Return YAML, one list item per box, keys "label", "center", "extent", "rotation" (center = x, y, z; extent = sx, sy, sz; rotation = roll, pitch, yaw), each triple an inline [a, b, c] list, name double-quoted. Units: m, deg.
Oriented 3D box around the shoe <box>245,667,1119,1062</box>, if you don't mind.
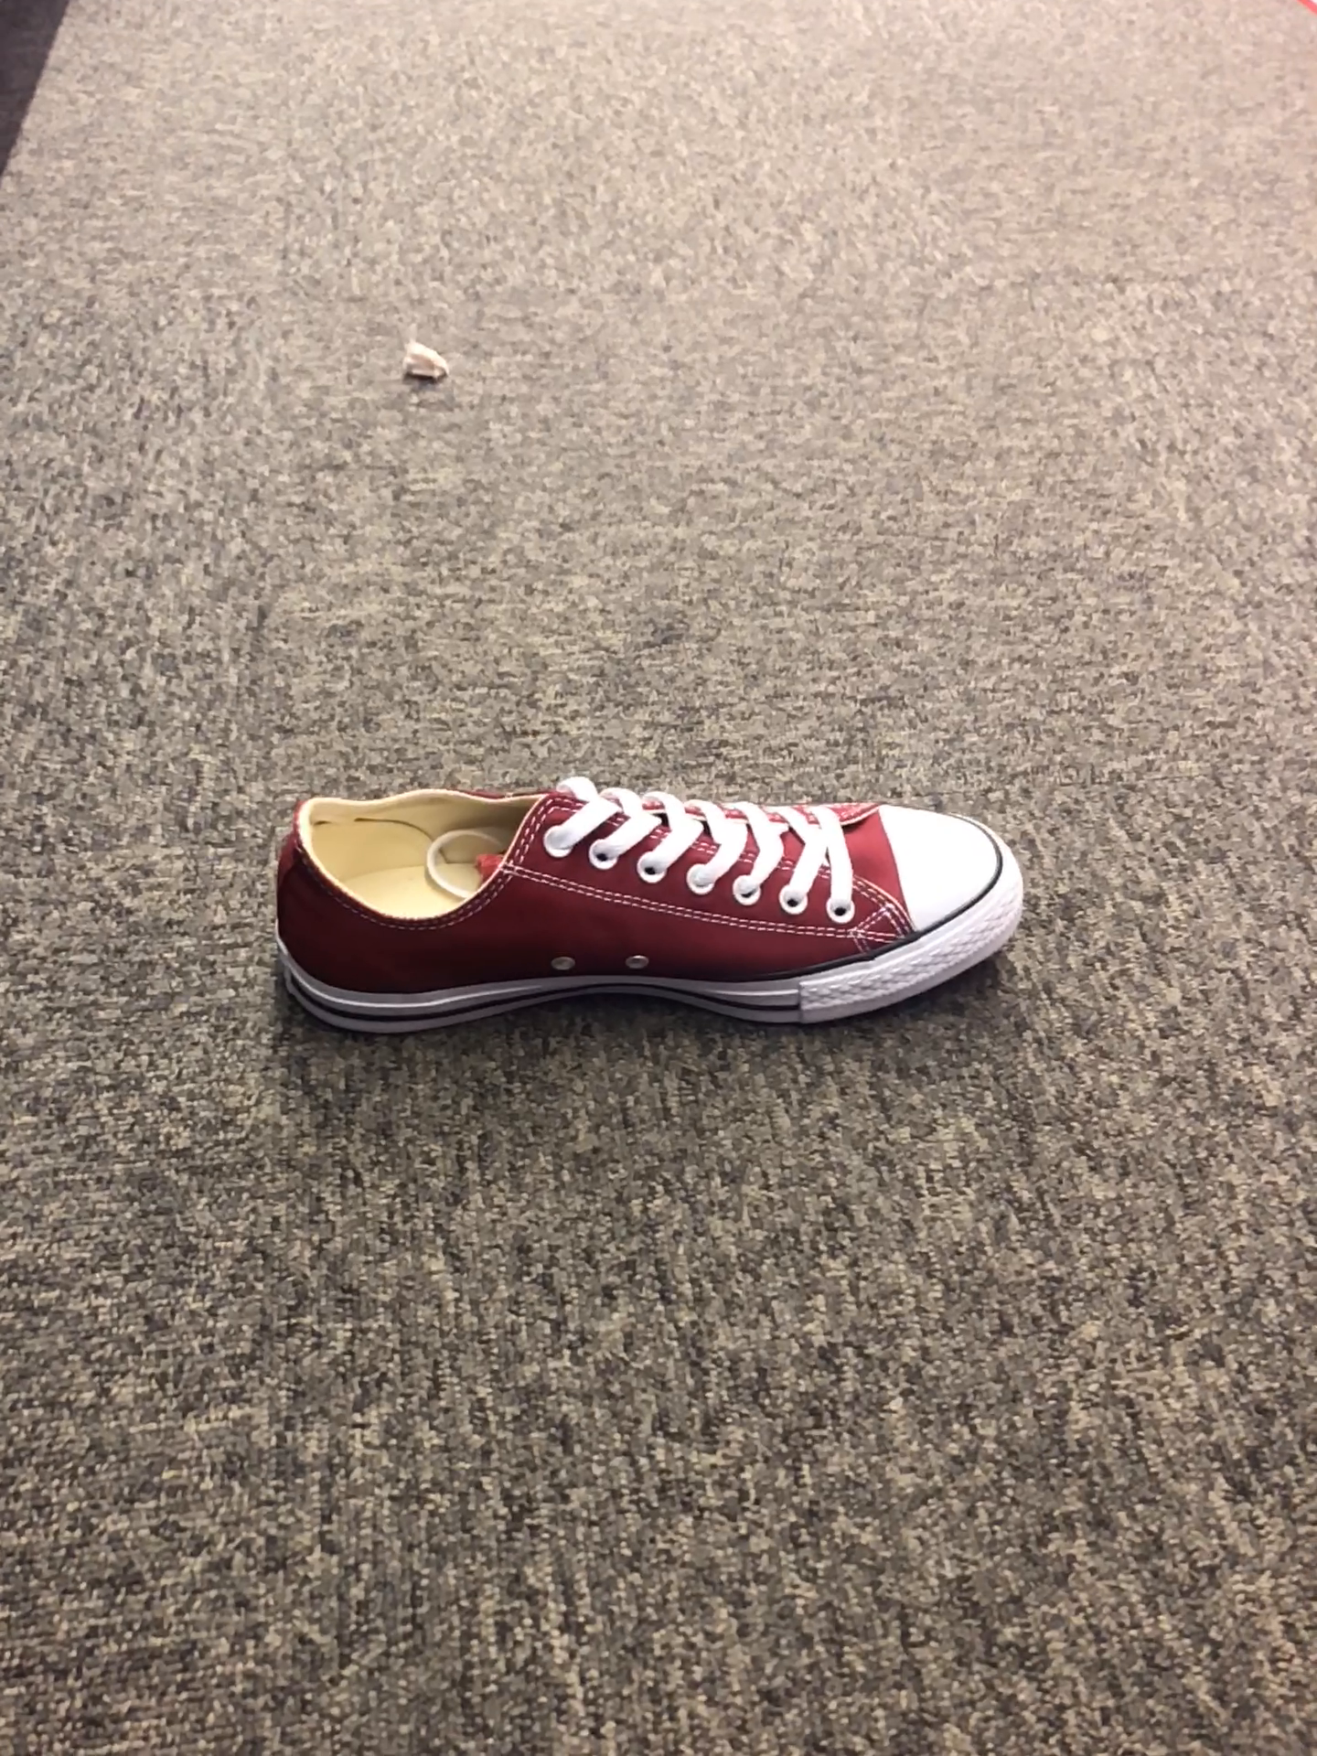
- label: "shoe"
  center: [0.005, -0.007, 0.525]
  extent: [0.280, 0.089, 0.100]
  rotation: [-2, 47, -7]
